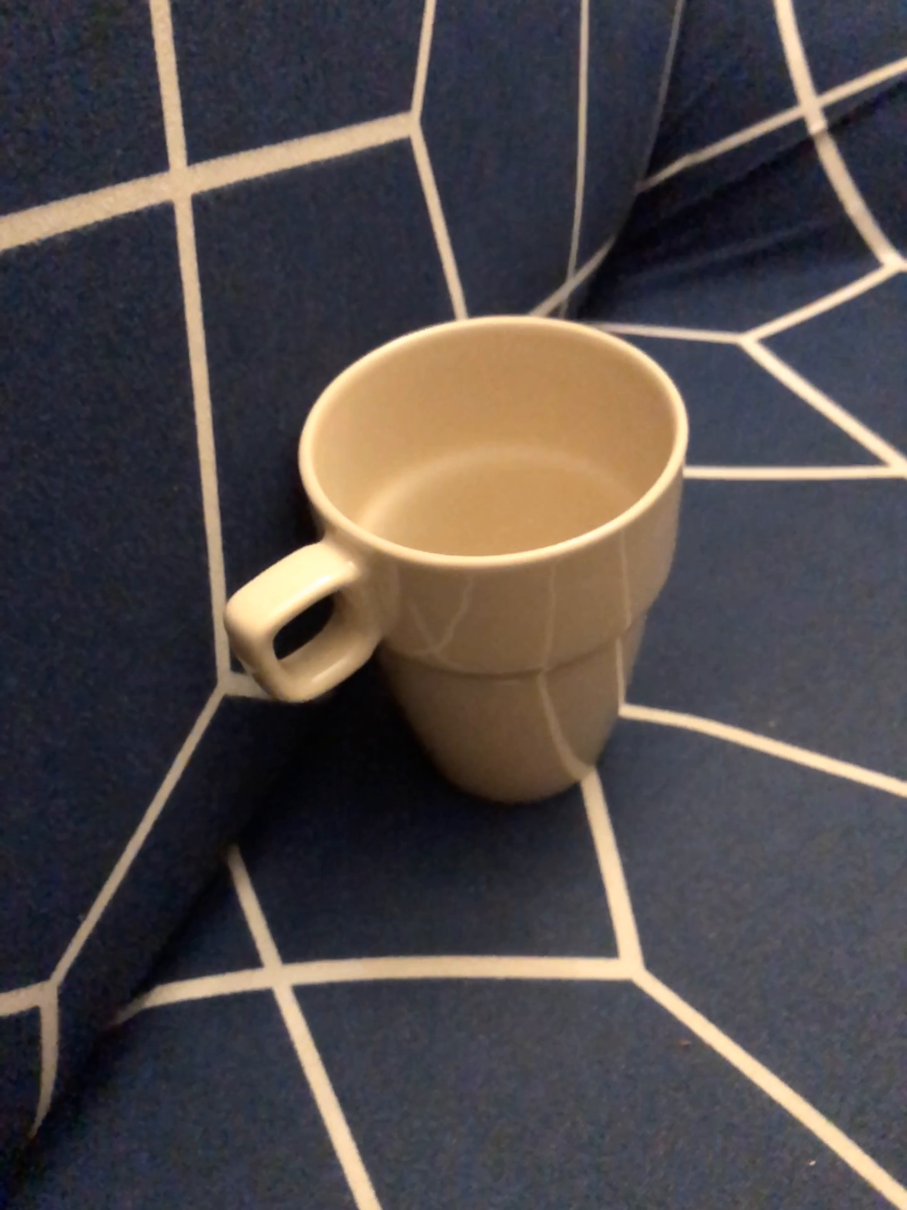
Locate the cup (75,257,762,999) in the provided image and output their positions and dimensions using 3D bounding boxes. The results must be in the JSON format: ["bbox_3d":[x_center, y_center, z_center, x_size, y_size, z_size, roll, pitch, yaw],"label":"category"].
[{"bbox_3d":[-0.002,0.003,0.242,0.104,0.109,0.090,-35,51,-22],"label":"cup"}]
